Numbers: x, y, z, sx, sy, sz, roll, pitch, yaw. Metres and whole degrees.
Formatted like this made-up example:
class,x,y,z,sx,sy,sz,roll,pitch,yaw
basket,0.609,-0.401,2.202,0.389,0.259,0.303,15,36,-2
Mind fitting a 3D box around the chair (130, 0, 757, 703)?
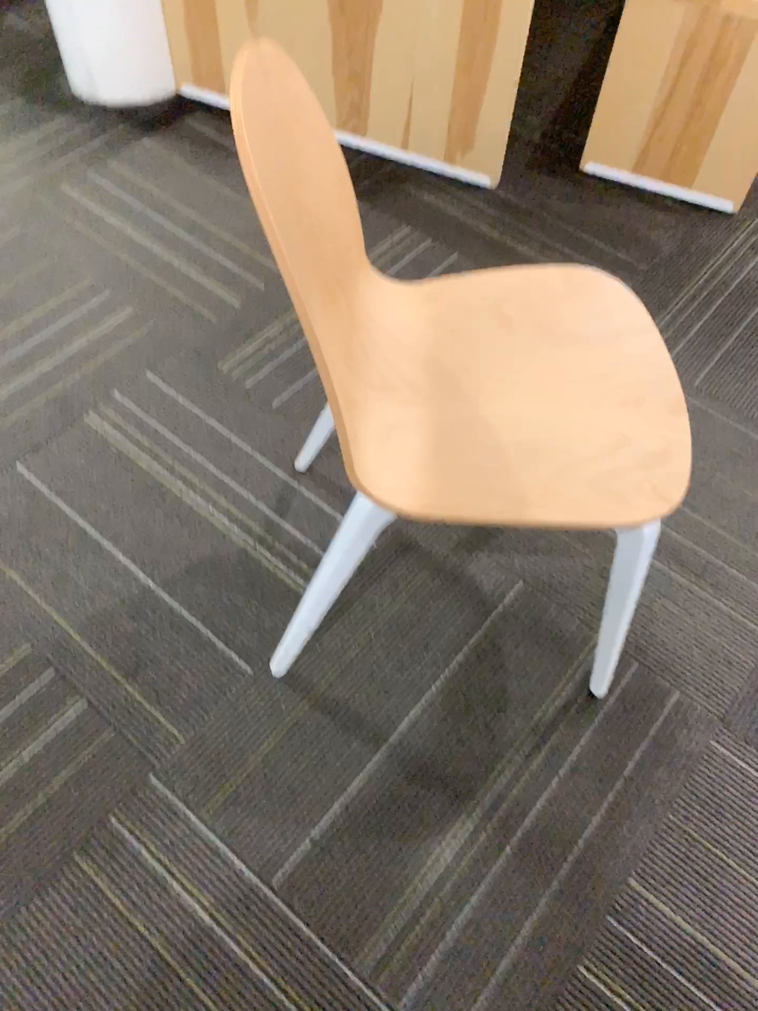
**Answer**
class,x,y,z,sx,sy,sz,roll,pitch,yaw
chair,0.115,-0.130,0.975,0.570,0.826,0.462,3,57,-1
